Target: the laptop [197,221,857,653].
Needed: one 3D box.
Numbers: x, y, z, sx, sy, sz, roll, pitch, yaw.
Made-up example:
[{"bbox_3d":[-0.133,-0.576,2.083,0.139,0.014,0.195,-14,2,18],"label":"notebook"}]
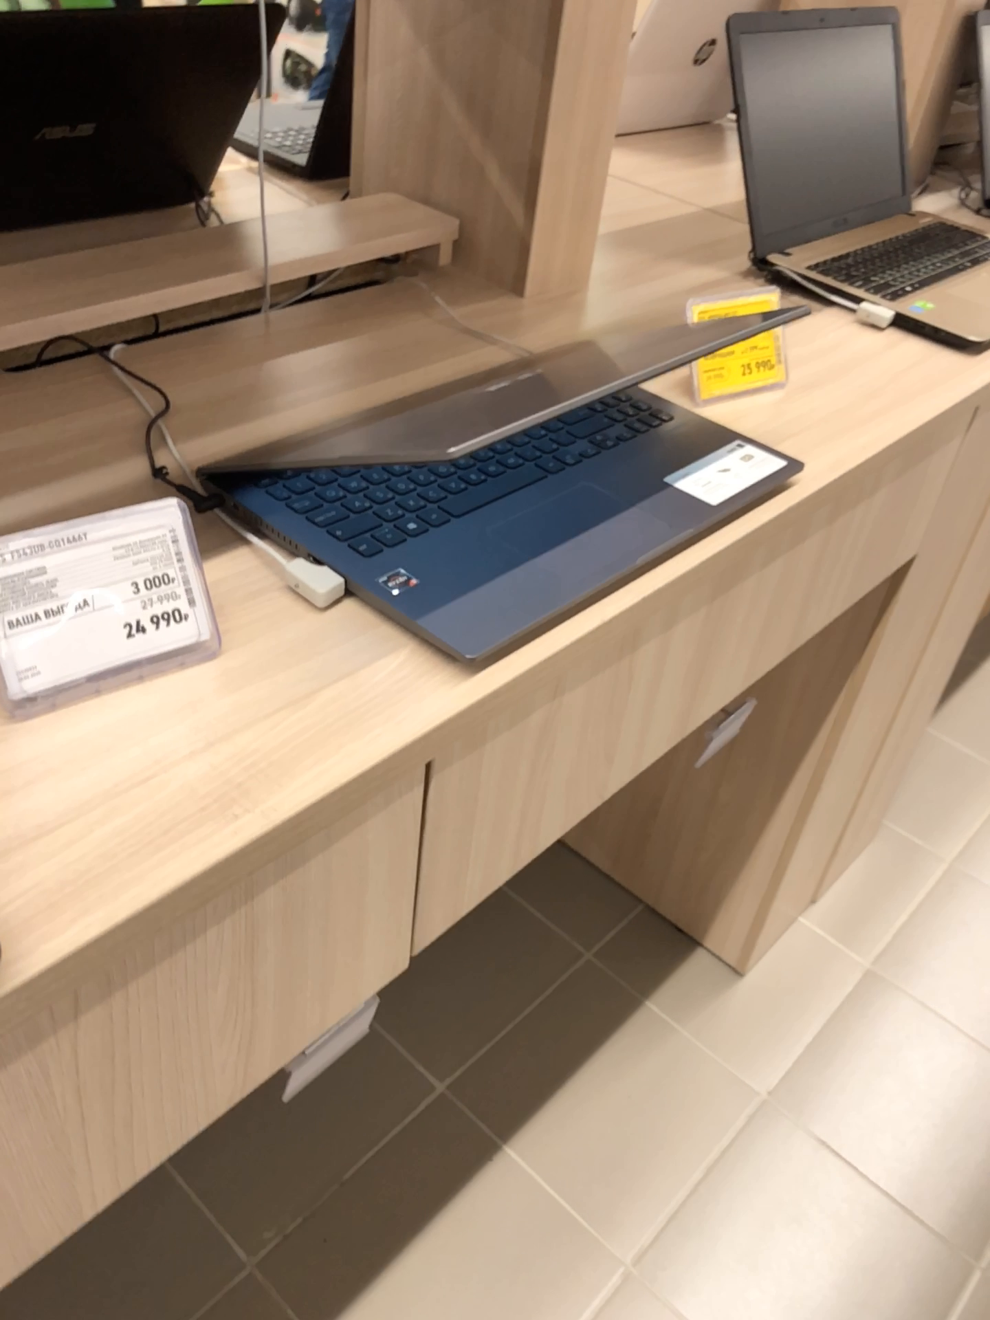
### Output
[{"bbox_3d":[0.029,-0.170,0.704,0.233,0.111,0.350,33,44,29],"label":"laptop"}]
